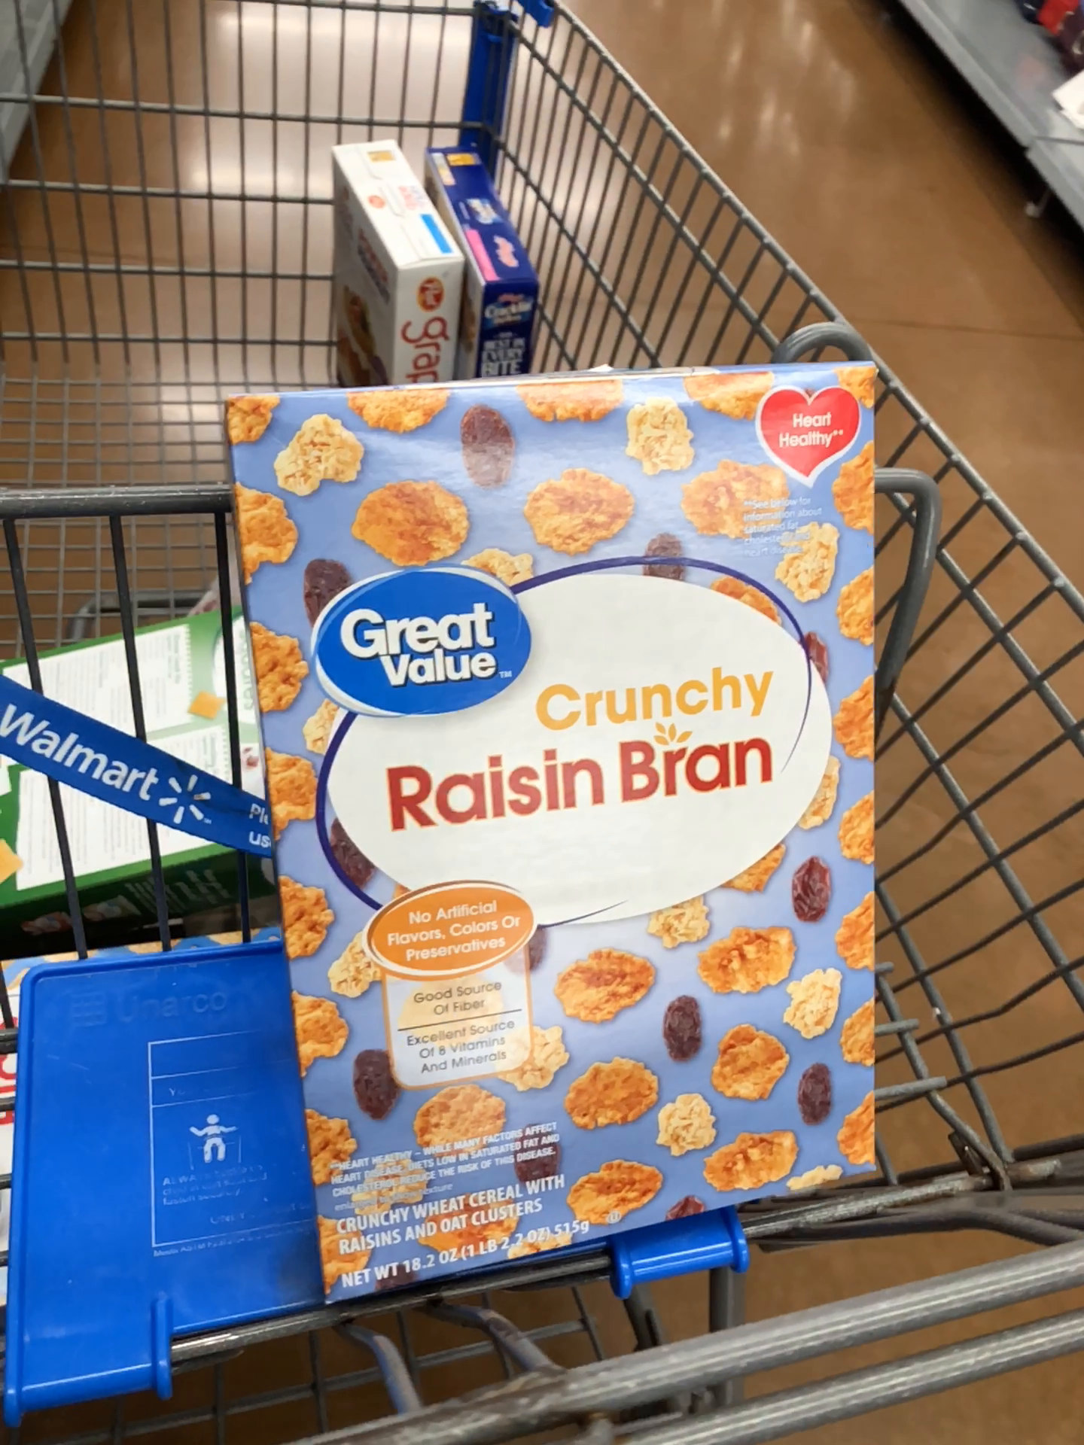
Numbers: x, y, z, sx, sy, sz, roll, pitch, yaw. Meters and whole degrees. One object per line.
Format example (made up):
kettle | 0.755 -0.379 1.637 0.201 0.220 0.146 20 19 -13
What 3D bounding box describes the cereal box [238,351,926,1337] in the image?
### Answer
cereal box | 0.020 0.029 0.396 0.200 0.280 0.070 -7 11 -17
